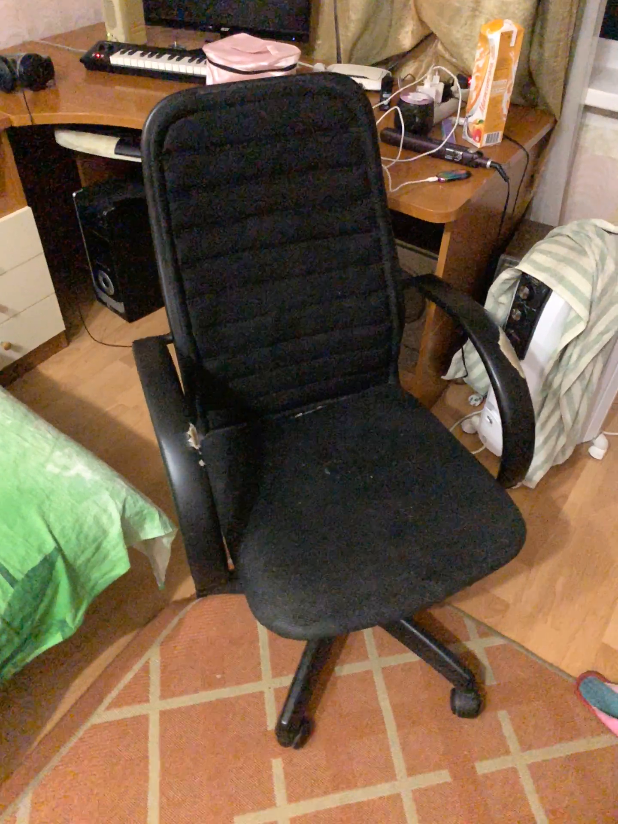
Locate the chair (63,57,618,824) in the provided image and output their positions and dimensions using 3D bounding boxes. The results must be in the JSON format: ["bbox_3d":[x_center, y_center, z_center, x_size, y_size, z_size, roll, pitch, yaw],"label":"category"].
[{"bbox_3d":[0.087,0.059,1.099,0.671,0.991,0.725,-16,46,-18],"label":"chair"}]
